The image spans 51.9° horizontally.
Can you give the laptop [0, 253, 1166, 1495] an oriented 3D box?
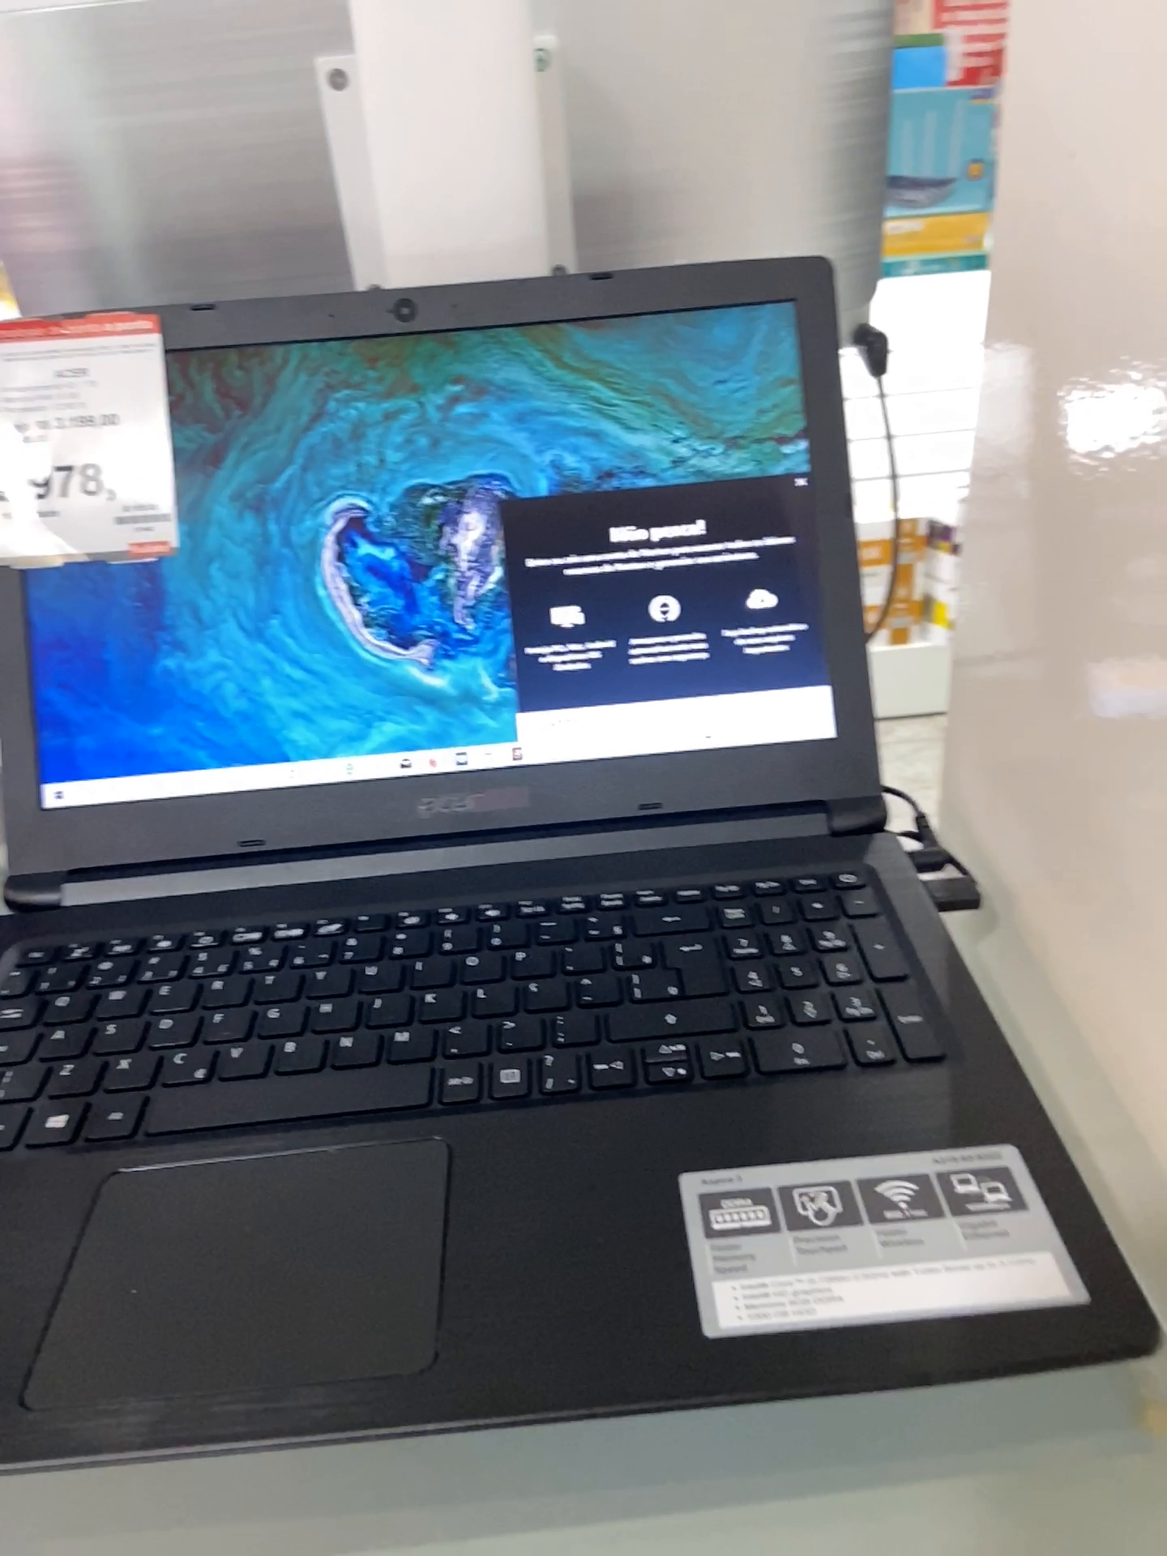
[{"bbox_3d":[-0.061,-0.029,0.404,0.369,0.205,0.377,-5,29,-1],"label":"laptop"}]
